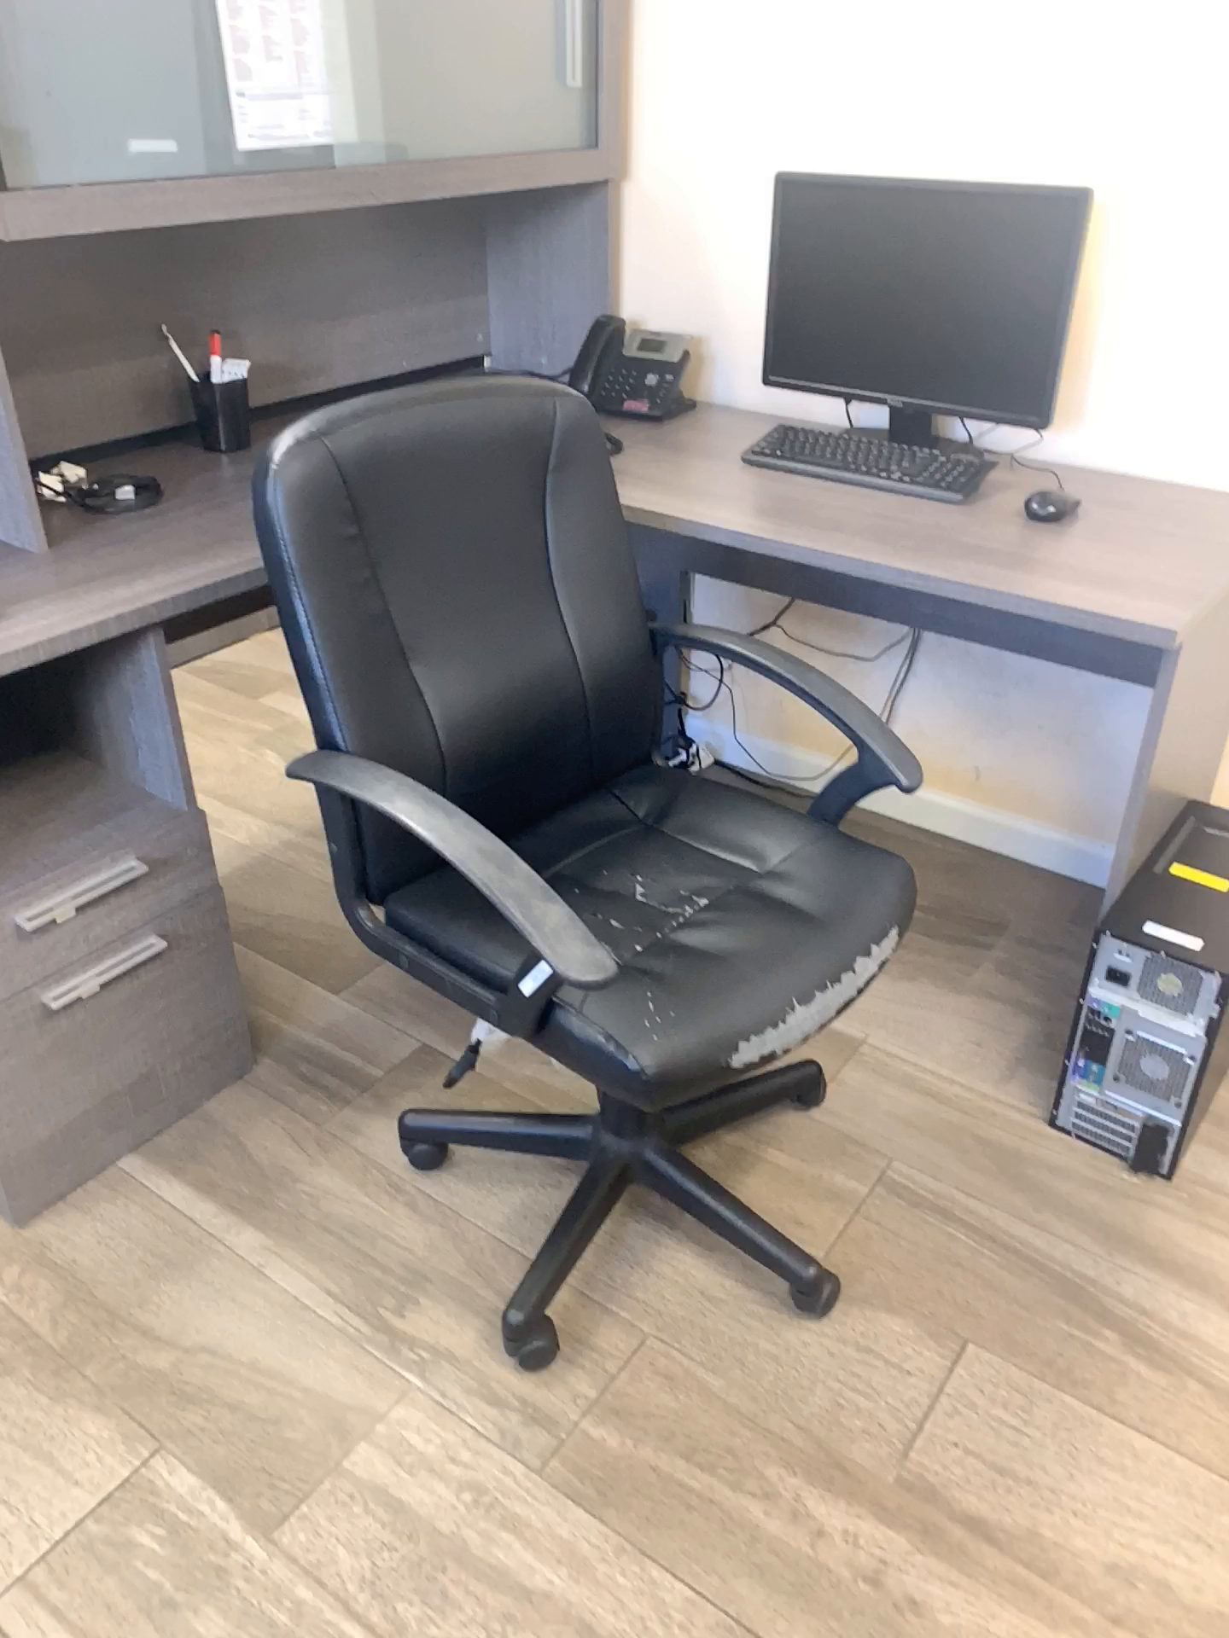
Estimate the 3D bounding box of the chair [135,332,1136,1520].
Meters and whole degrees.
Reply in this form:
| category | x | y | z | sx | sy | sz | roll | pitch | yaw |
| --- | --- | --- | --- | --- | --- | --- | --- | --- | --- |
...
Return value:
| category | x | y | z | sx | sy | sz | roll | pitch | yaw |
| --- | --- | --- | --- | --- | --- | --- | --- | --- | --- |
| chair | 0.027 | 0.048 | 1.372 | 0.641 | 0.945 | 0.652 | 25 | 39 | 35 |
